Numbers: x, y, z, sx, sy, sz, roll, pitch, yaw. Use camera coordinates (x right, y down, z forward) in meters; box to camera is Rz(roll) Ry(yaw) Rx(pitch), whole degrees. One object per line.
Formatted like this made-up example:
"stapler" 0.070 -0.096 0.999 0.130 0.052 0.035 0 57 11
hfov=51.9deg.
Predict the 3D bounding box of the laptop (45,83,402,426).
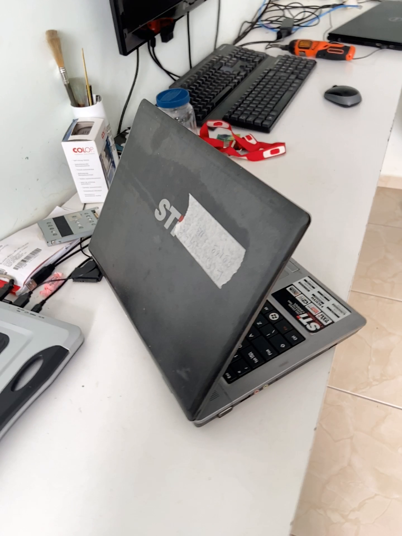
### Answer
"laptop" 0.004 -0.052 0.508 0.241 0.200 0.343 -25 45 -18
